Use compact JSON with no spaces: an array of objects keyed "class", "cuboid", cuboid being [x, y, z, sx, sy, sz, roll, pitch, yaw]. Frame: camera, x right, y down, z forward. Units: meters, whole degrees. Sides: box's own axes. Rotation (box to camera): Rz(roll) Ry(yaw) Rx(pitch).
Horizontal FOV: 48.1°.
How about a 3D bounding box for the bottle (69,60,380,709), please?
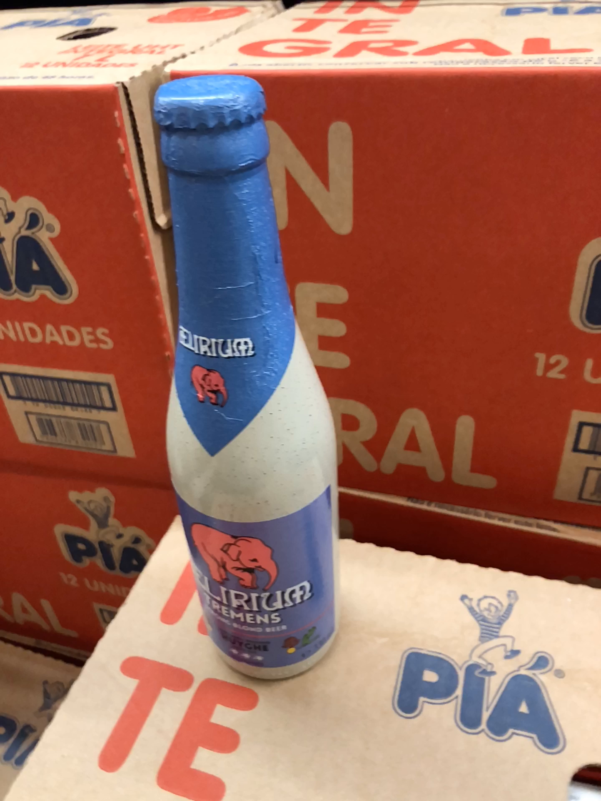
[{"class":"bottle","cuboid":[-0.012,0.007,0.235,0.060,0.218,0.060,-2,33,1]}]
